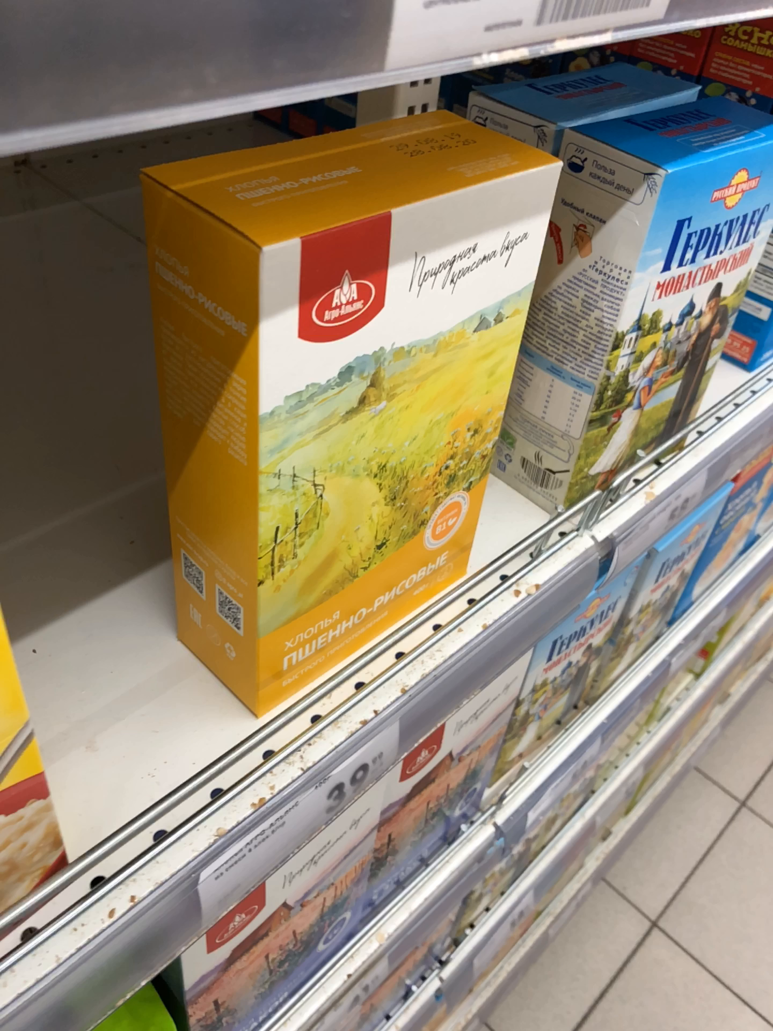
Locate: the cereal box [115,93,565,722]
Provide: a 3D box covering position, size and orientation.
[{"bbox_3d":[-0.017,-0.036,0.325,0.060,0.199,0.131,36,49,29],"label":"cereal box"}]
